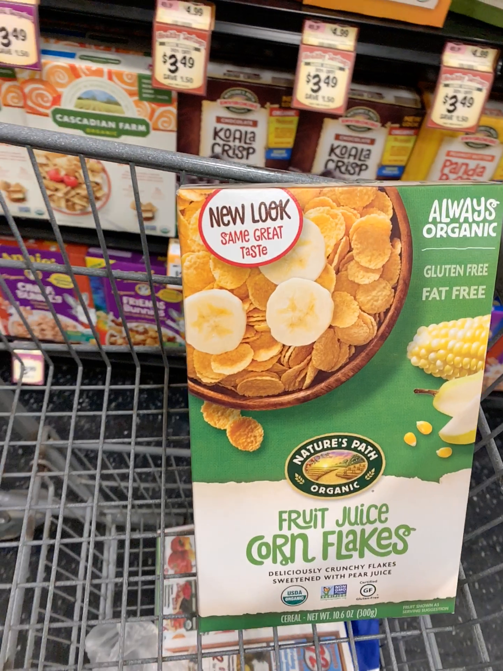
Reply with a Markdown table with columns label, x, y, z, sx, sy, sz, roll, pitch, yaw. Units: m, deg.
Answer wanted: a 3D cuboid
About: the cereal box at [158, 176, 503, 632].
| label | x | y | z | sx | sy | sz | roll | pitch | yaw |
| --- | --- | --- | --- | --- | --- | --- | --- | --- | --- |
| cereal box | 0.039 | 0.041 | 0.299 | 0.160 | 0.250 | 0.060 | -2 | 17 | -4 |
